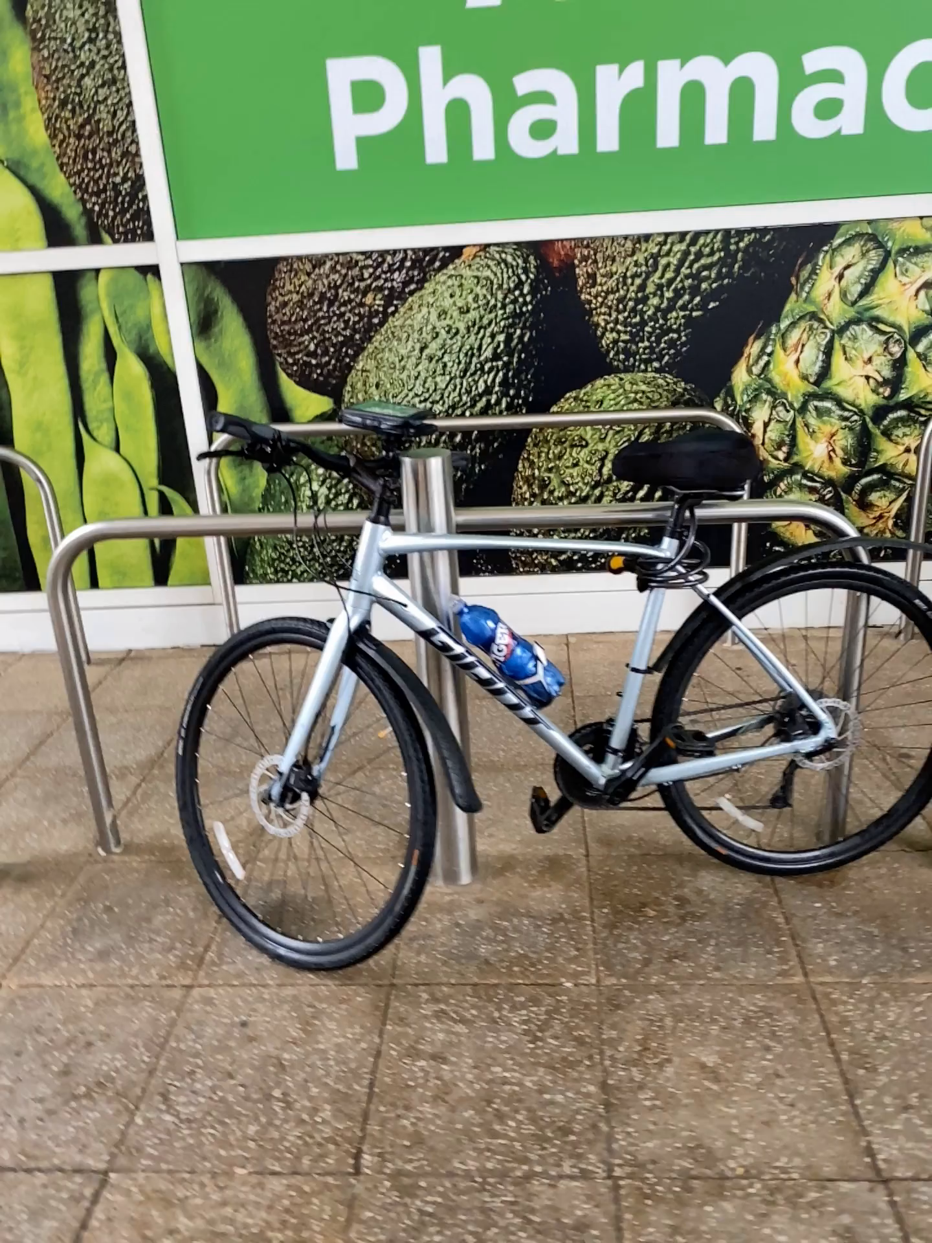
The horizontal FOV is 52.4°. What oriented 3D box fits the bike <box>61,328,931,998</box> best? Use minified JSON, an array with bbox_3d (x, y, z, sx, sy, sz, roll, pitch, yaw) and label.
[{"bbox_3d":[0.193,0.026,1.721,1.461,0.963,0.608,-4,21,-2],"label":"bike"}]
